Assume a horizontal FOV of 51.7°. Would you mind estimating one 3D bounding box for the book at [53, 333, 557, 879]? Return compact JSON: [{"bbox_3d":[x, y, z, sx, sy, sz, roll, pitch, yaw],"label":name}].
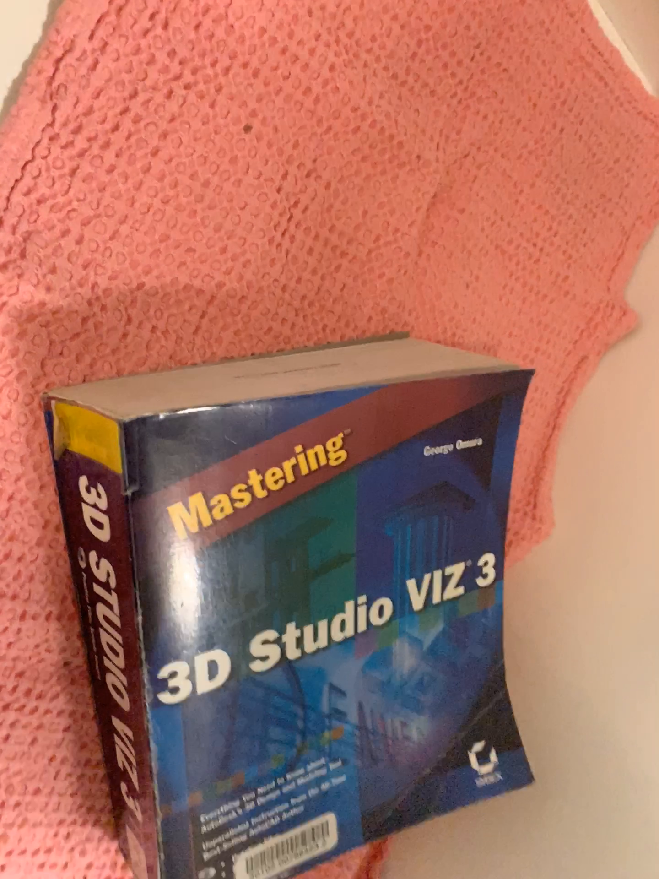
[{"bbox_3d":[0.001,0.078,0.323,0.207,0.077,0.231,-12,109,-32],"label":"book"}]
